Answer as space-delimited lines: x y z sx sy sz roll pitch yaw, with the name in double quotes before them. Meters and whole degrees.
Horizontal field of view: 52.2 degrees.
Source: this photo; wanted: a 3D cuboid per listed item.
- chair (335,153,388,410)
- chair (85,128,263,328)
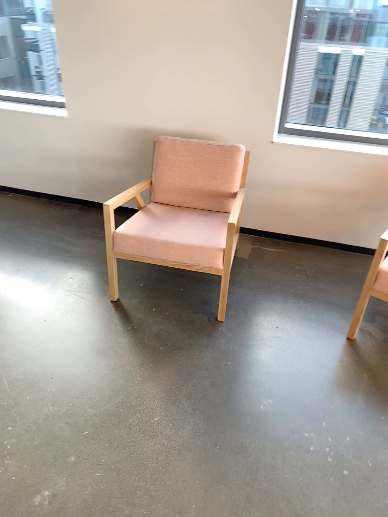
"chair" 1.286 0.037 1.964 0.742 0.795 0.772 23 37 29
"chair" -0.067 -0.225 2.324 0.741 0.795 0.774 10 34 12
